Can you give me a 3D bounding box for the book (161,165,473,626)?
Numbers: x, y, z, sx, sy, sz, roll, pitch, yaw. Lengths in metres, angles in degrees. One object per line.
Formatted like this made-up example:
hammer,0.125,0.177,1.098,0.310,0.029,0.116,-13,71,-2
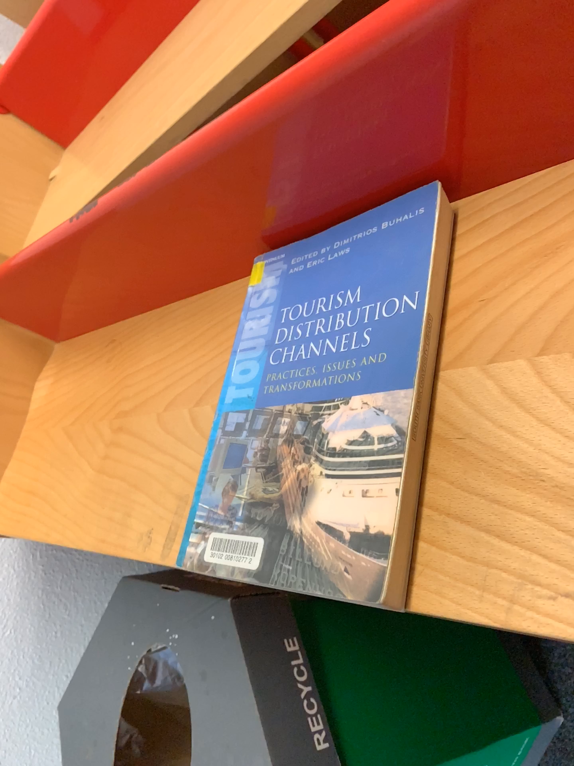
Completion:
book,0.016,0.002,0.356,0.168,0.030,0.238,-8,62,44
